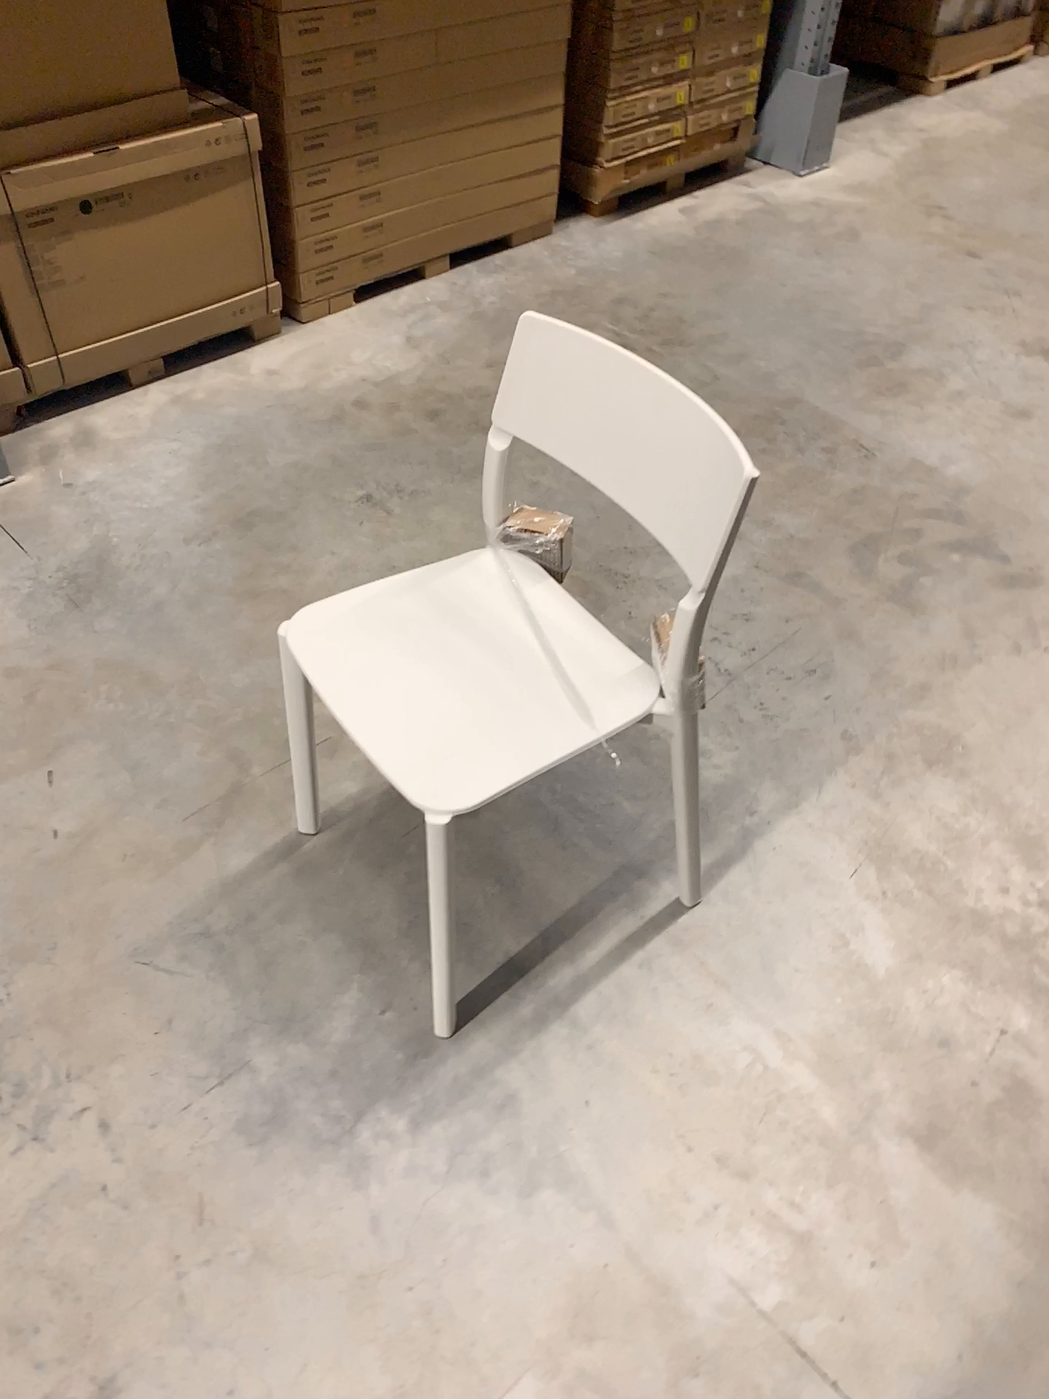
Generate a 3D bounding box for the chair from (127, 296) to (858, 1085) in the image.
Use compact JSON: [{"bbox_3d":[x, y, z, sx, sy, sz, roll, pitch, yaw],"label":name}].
[{"bbox_3d":[-0.053,-0.026,1.291,0.531,0.618,0.521,-27,52,-26],"label":"chair"}]
